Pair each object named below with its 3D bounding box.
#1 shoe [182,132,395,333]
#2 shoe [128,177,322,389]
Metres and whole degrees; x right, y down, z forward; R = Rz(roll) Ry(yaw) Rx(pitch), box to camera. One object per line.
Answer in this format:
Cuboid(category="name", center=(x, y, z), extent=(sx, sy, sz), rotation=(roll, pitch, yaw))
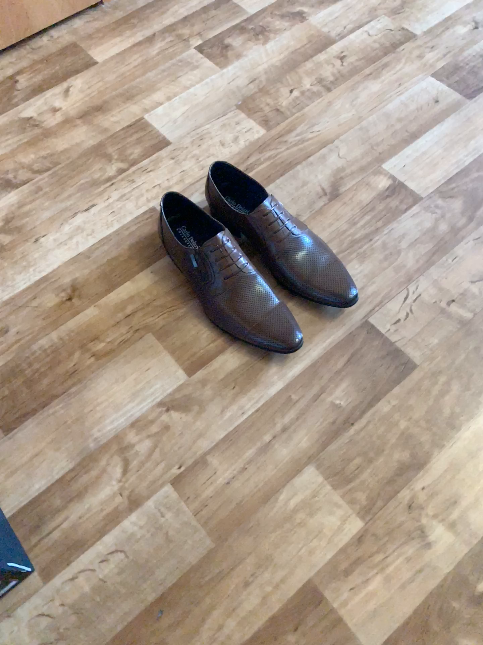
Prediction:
Cuboid(category="shoe", center=(0.060, -0.140, 0.738), extent=(0.110, 0.100, 0.310), rotation=(-40, 67, -16))
Cuboid(category="shoe", center=(-0.029, -0.062, 0.726), extent=(0.100, 0.120, 0.300), rotation=(-37, 67, -15))
